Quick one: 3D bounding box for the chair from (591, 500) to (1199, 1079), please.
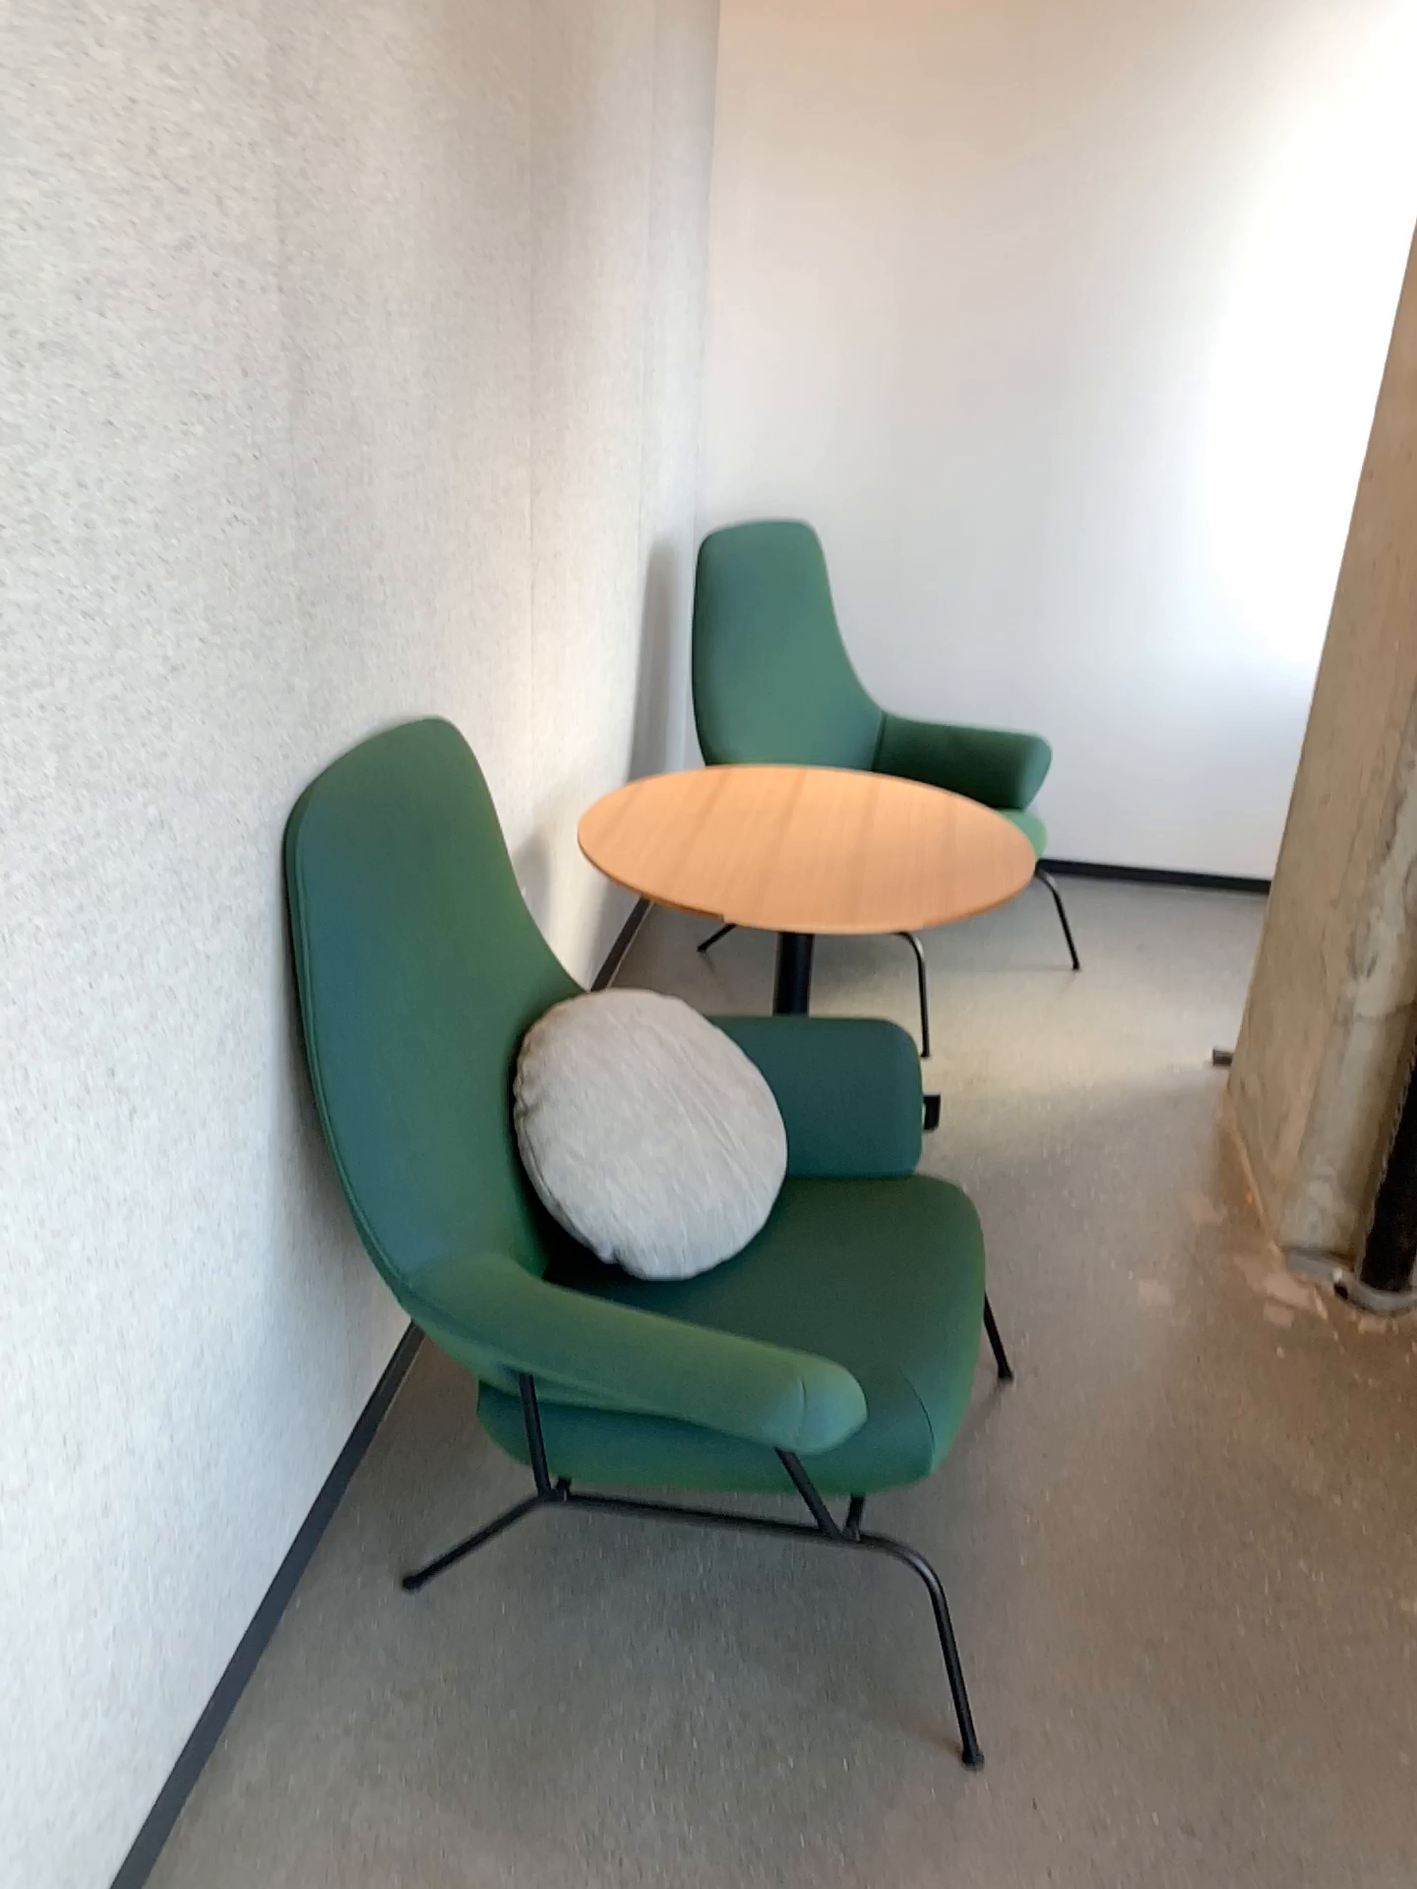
[{"bbox_3d":[0.385,-0.433,3.336,1.004,0.954,0.822,23,31,37],"label":"chair"}]

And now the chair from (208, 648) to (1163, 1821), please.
[{"bbox_3d":[0.017,0.270,1.840,0.851,1.034,0.834,8,24,10],"label":"chair"}]
